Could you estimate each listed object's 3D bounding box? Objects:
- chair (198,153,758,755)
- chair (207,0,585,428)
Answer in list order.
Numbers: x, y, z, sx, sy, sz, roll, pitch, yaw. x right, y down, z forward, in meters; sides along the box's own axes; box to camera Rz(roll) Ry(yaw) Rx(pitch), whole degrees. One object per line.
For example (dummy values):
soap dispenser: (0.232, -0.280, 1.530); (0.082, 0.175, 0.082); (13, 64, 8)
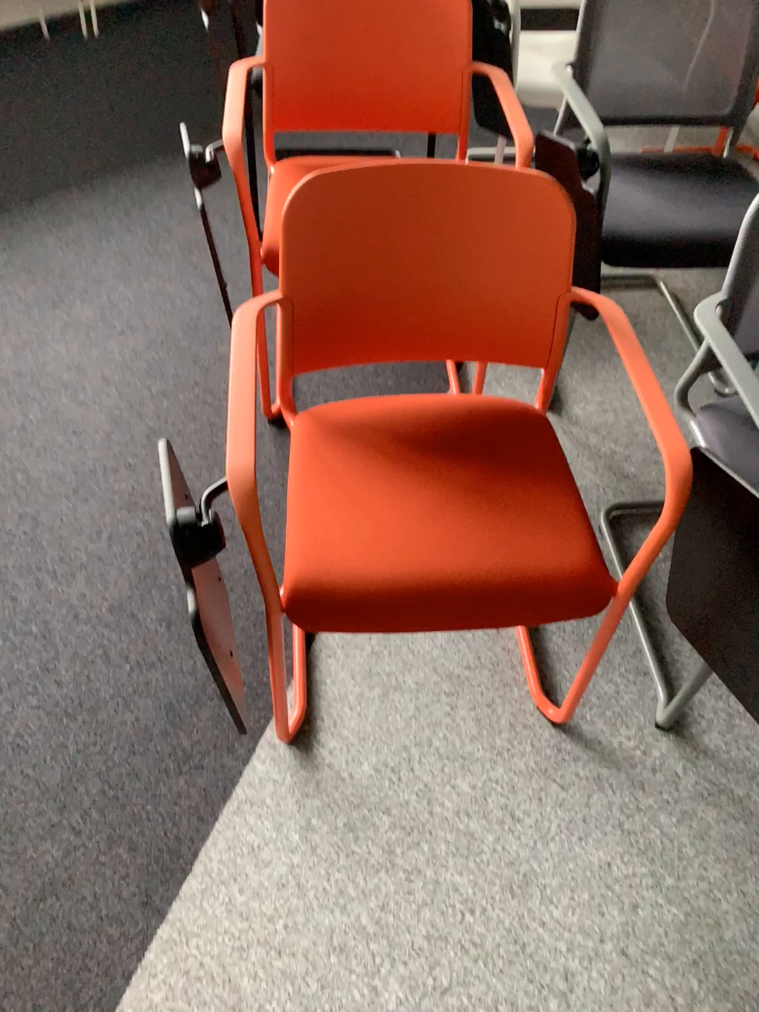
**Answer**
chair: (0.078, -0.043, 1.228); (0.580, 0.766, 0.563); (-2, 52, -5)
chair: (-0.008, -0.665, 1.727); (0.610, 0.756, 0.603); (-2, 51, -5)
